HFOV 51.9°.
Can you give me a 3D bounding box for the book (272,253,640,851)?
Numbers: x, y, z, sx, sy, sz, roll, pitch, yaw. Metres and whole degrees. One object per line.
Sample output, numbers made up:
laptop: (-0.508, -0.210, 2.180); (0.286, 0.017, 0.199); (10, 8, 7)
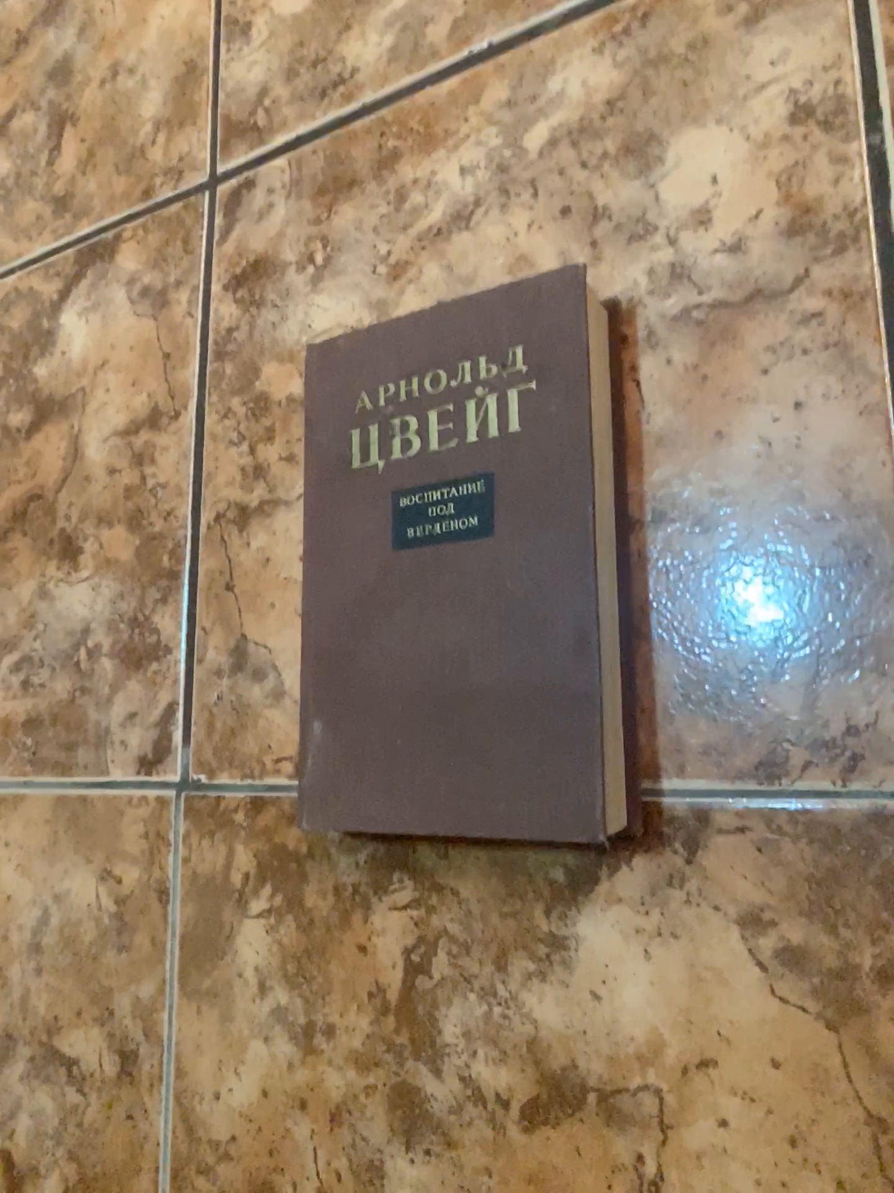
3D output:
book: (-0.002, -0.012, 0.359); (0.139, 0.034, 0.205); (-6, 79, 31)
